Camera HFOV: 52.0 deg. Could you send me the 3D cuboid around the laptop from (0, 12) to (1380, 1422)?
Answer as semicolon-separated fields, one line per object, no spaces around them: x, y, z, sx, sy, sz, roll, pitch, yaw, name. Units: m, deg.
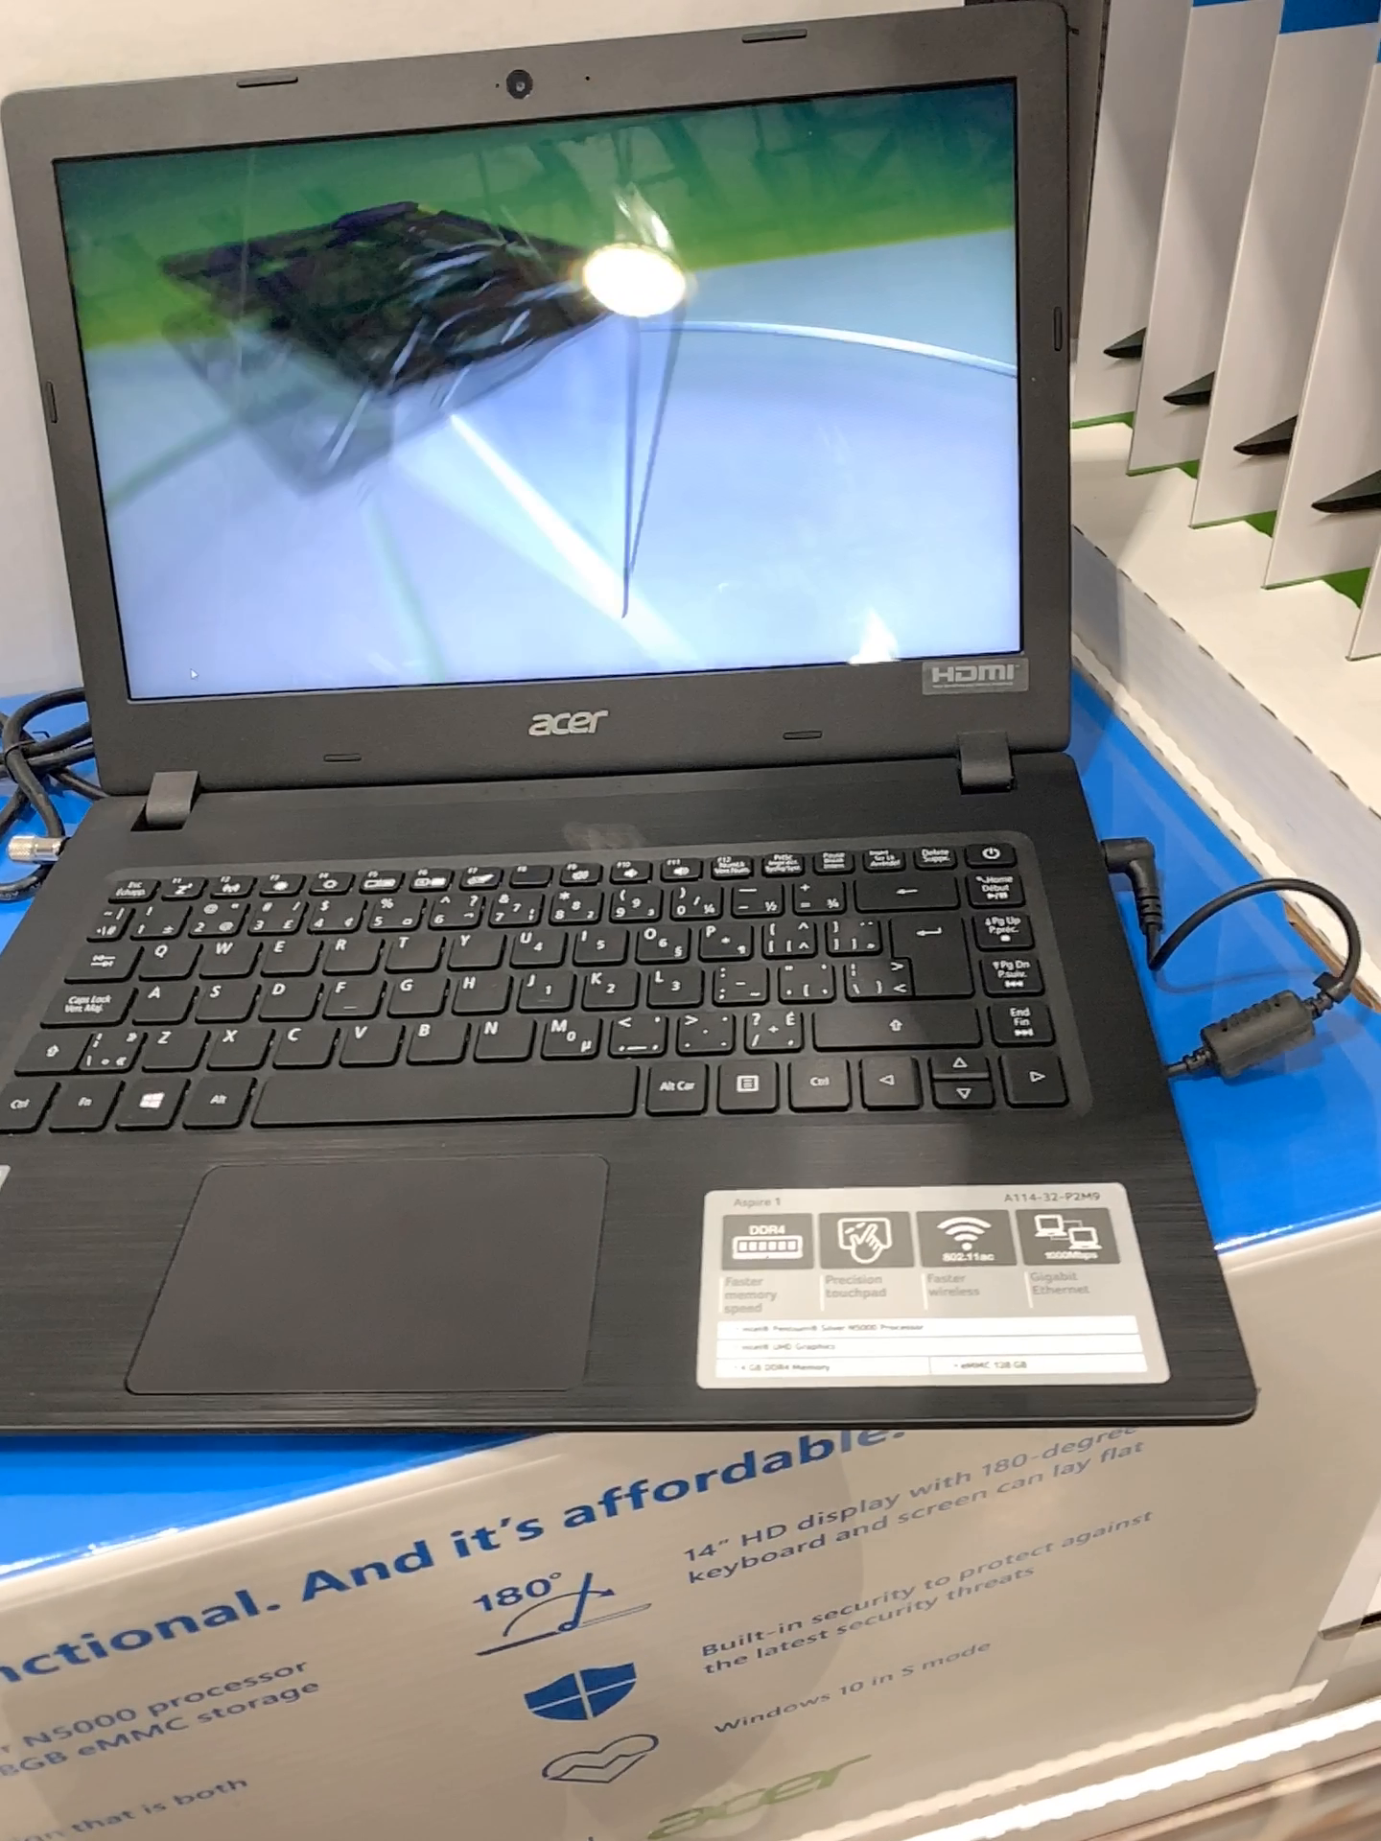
-0.048;-0.075;0.353;0.318;0.186;0.329;-2;41;5;laptop
